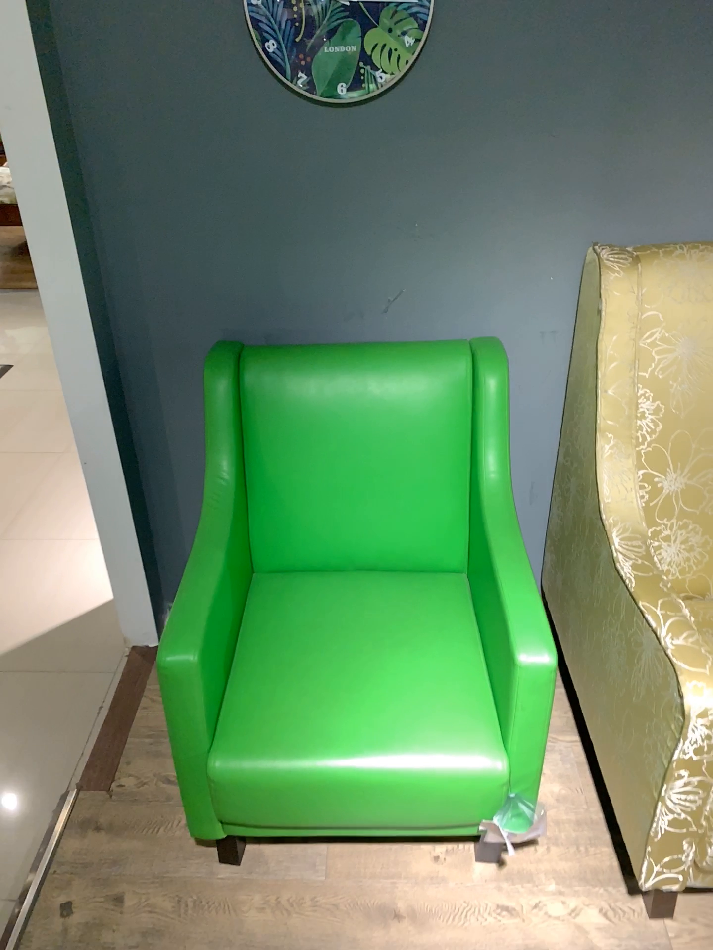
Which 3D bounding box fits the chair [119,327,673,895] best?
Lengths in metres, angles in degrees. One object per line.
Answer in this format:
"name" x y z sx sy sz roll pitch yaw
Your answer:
"chair" 0.063 0.216 1.483 0.710 0.787 0.813 0 31 2
